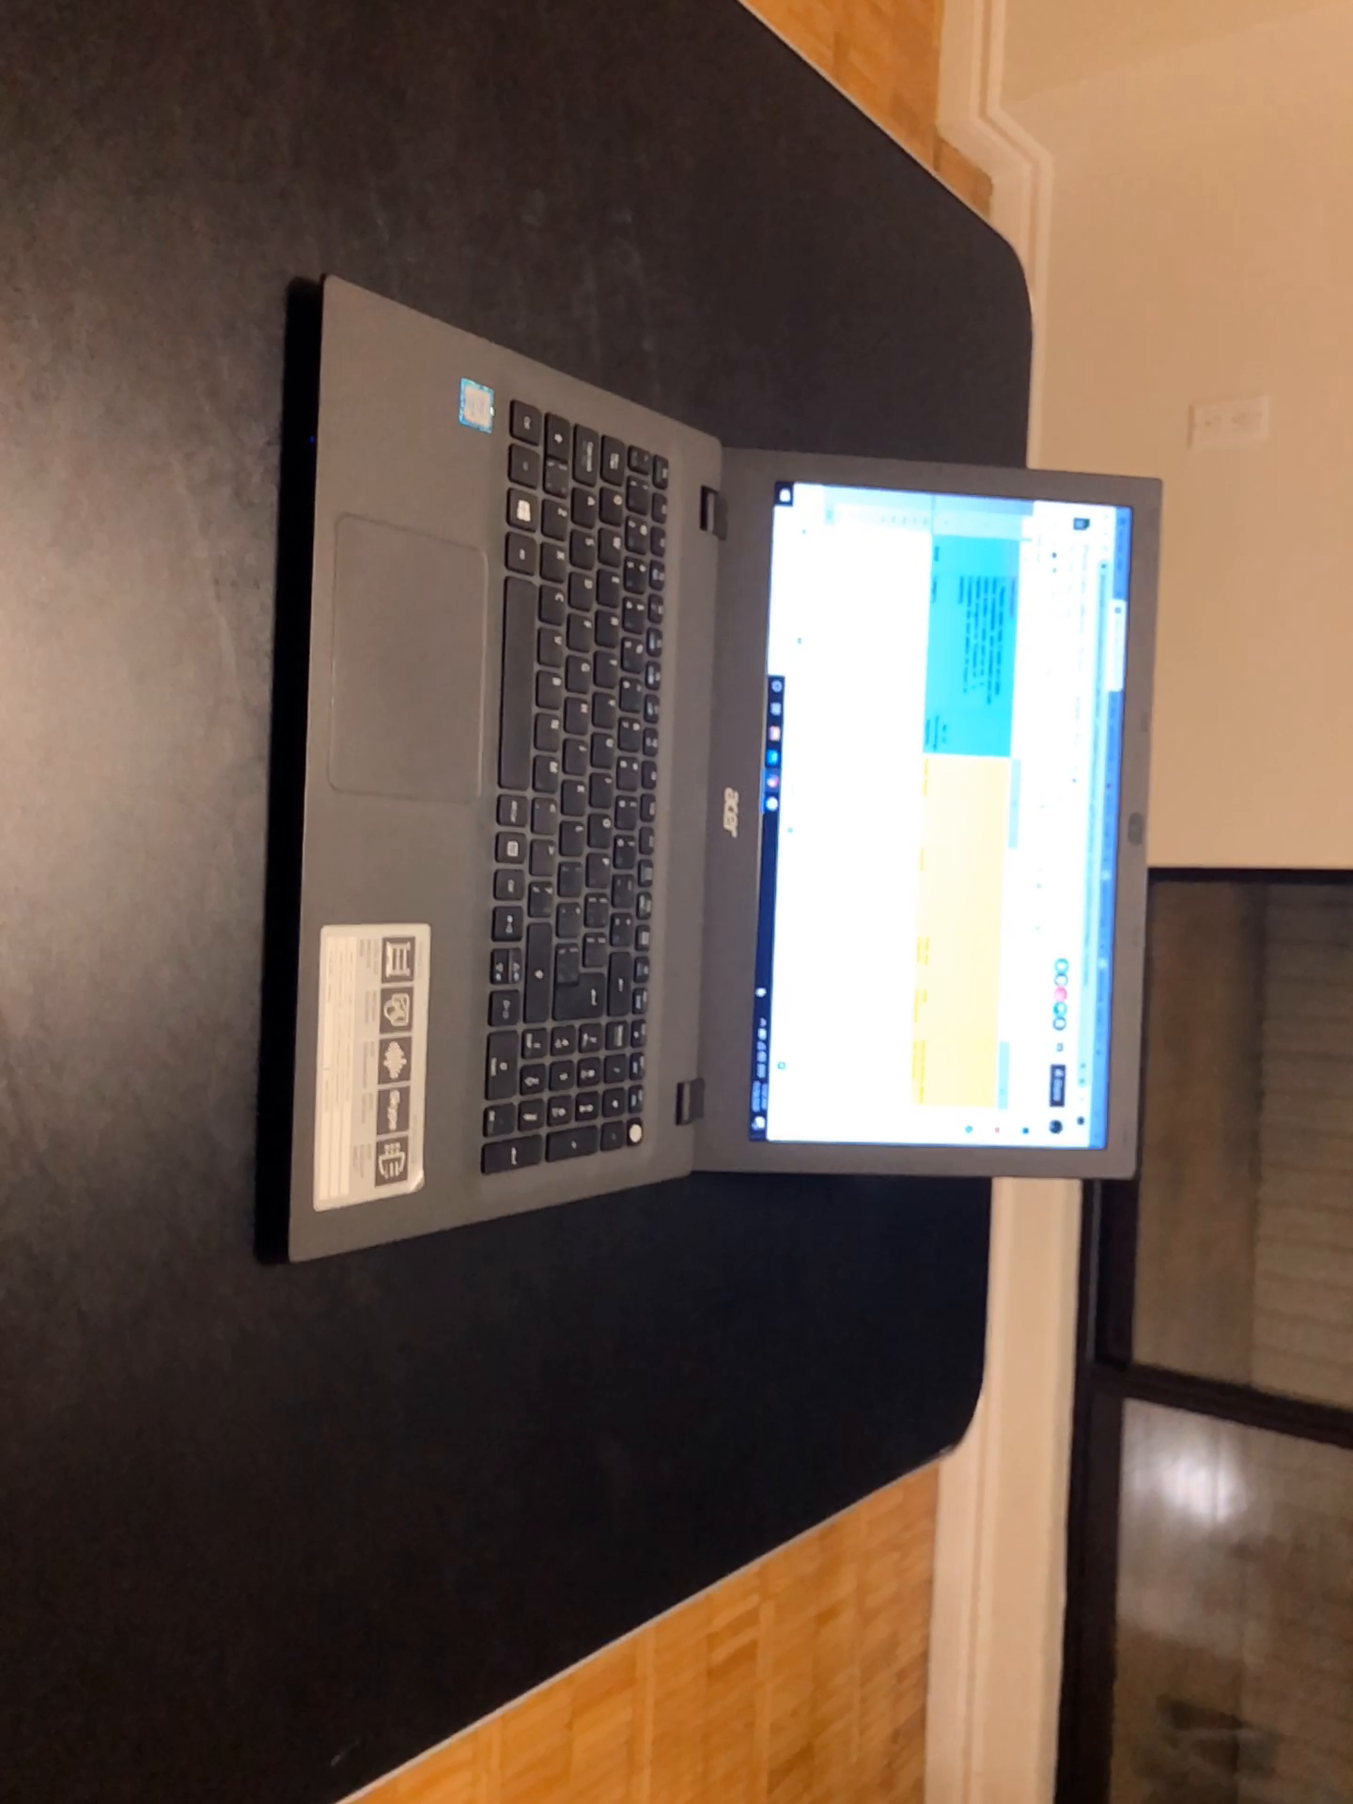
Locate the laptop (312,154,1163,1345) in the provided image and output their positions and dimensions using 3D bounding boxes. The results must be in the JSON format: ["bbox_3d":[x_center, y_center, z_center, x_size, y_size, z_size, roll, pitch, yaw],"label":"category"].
[{"bbox_3d":[0.062,-0.044,0.689,0.432,0.161,0.374,1,91,-52],"label":"laptop"}]
